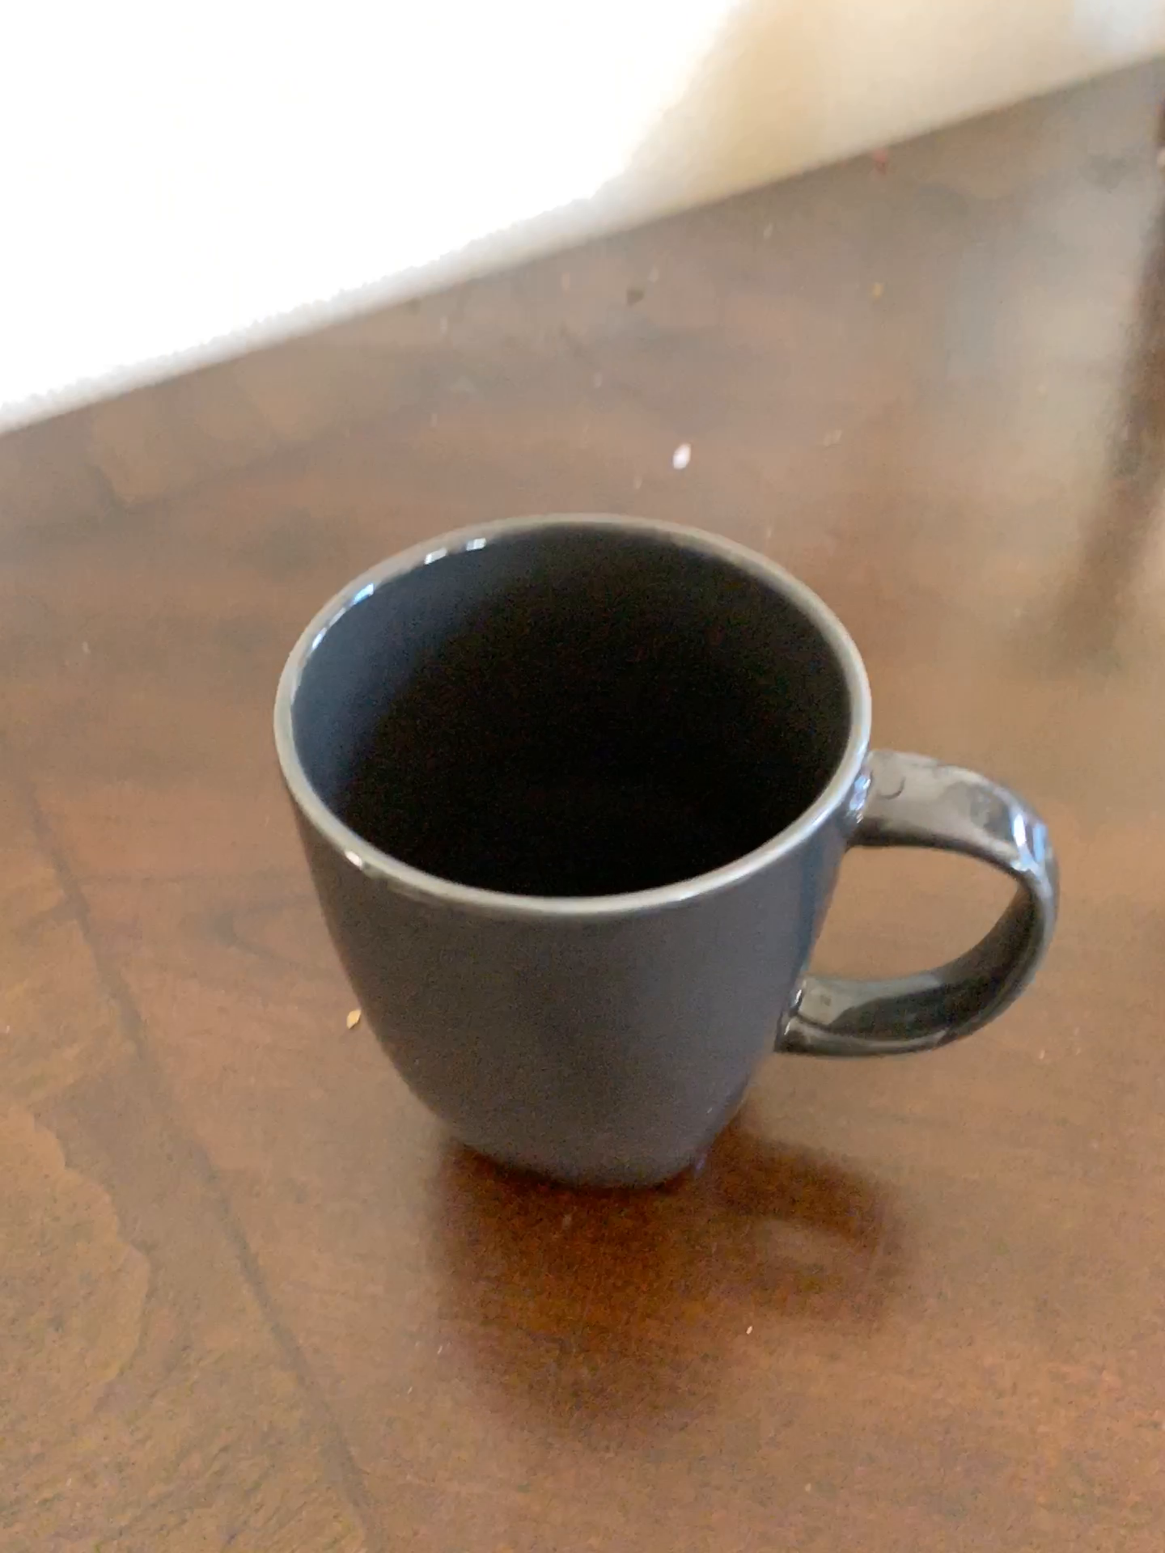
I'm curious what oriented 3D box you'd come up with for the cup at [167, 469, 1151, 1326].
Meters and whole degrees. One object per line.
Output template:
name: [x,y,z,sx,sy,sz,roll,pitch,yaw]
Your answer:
cup: [0.015,0.018,0.196,0.107,0.096,0.089,4,47,9]
